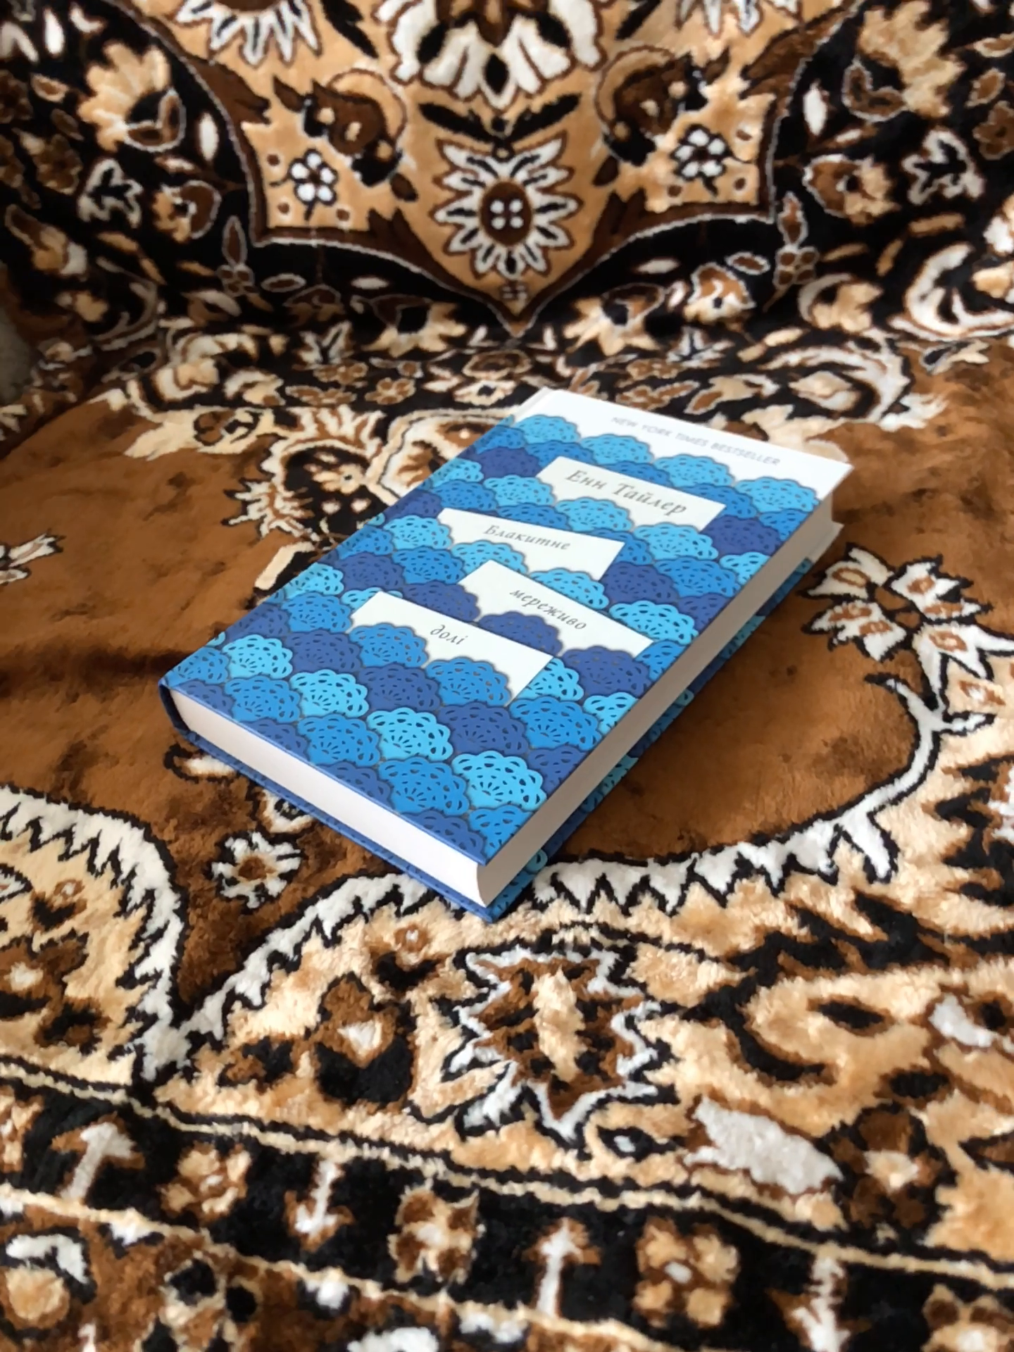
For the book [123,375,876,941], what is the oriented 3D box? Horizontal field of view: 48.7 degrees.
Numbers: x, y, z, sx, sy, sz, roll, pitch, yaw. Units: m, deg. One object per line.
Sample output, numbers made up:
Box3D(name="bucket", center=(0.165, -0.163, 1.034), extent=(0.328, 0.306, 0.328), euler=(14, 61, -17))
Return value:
Box3D(name="book", center=(0.007, -0.031, 0.403), extent=(0.155, 0.030, 0.234), euler=(24, 50, 32))
